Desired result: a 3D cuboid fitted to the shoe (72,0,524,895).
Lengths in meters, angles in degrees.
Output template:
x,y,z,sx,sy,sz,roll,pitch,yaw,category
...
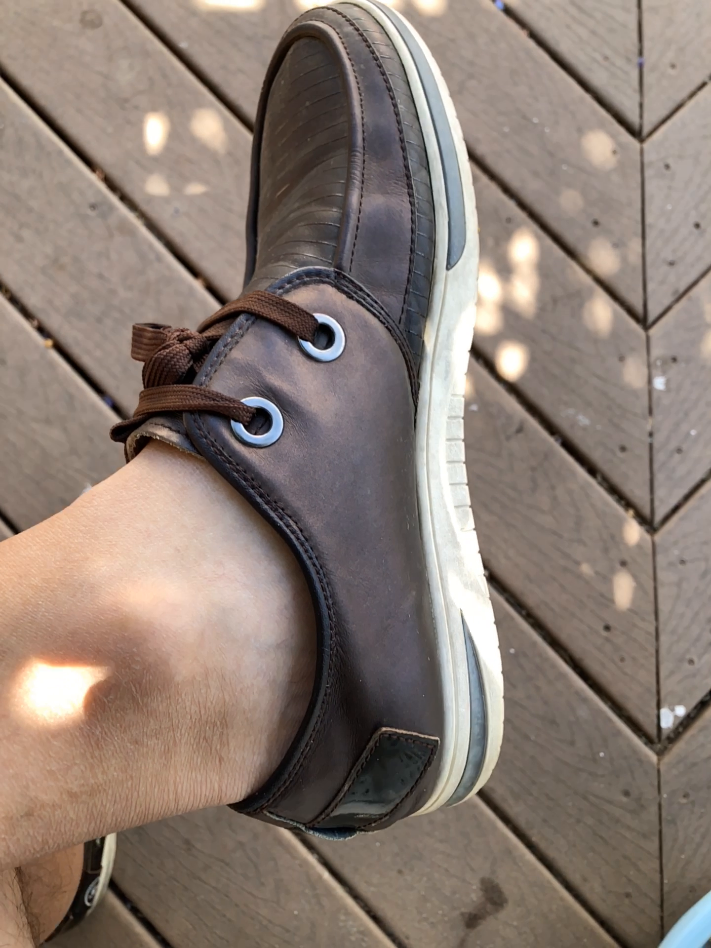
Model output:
x,y,z,sx,sy,sz,roll,pitch,yaw,category
-0.015,-0.034,0.262,0.102,0.097,0.274,7,81,-41,shoe
